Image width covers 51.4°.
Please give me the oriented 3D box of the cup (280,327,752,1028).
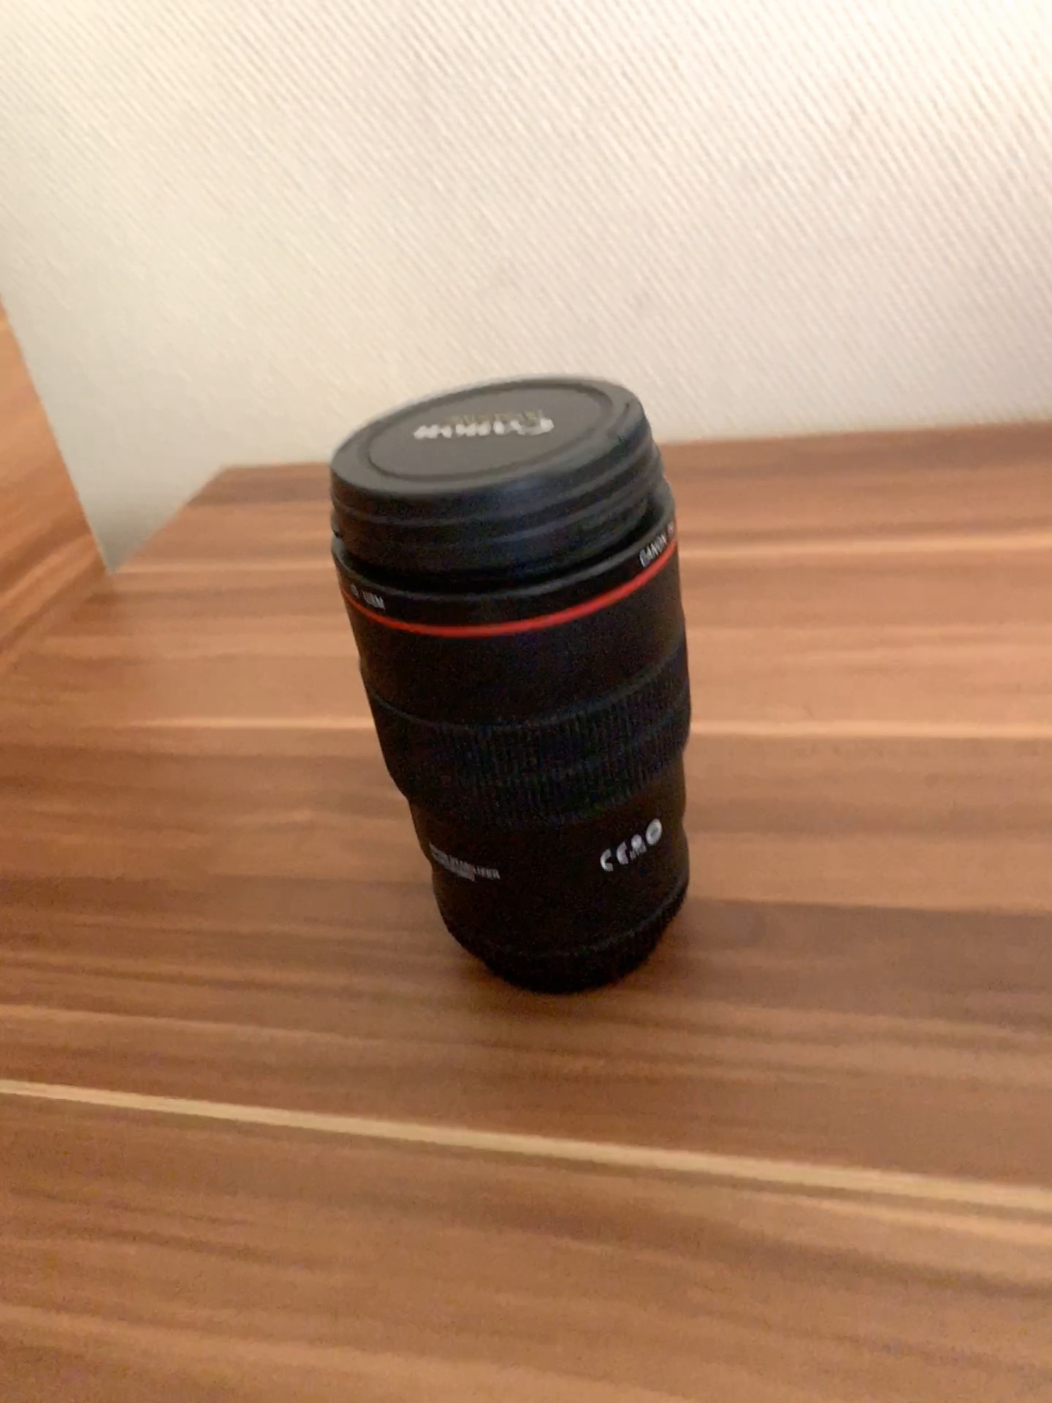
[{"bbox_3d":[0.004,-0.002,0.259,0.080,0.139,0.070,-9,34,1],"label":"cup"}]
